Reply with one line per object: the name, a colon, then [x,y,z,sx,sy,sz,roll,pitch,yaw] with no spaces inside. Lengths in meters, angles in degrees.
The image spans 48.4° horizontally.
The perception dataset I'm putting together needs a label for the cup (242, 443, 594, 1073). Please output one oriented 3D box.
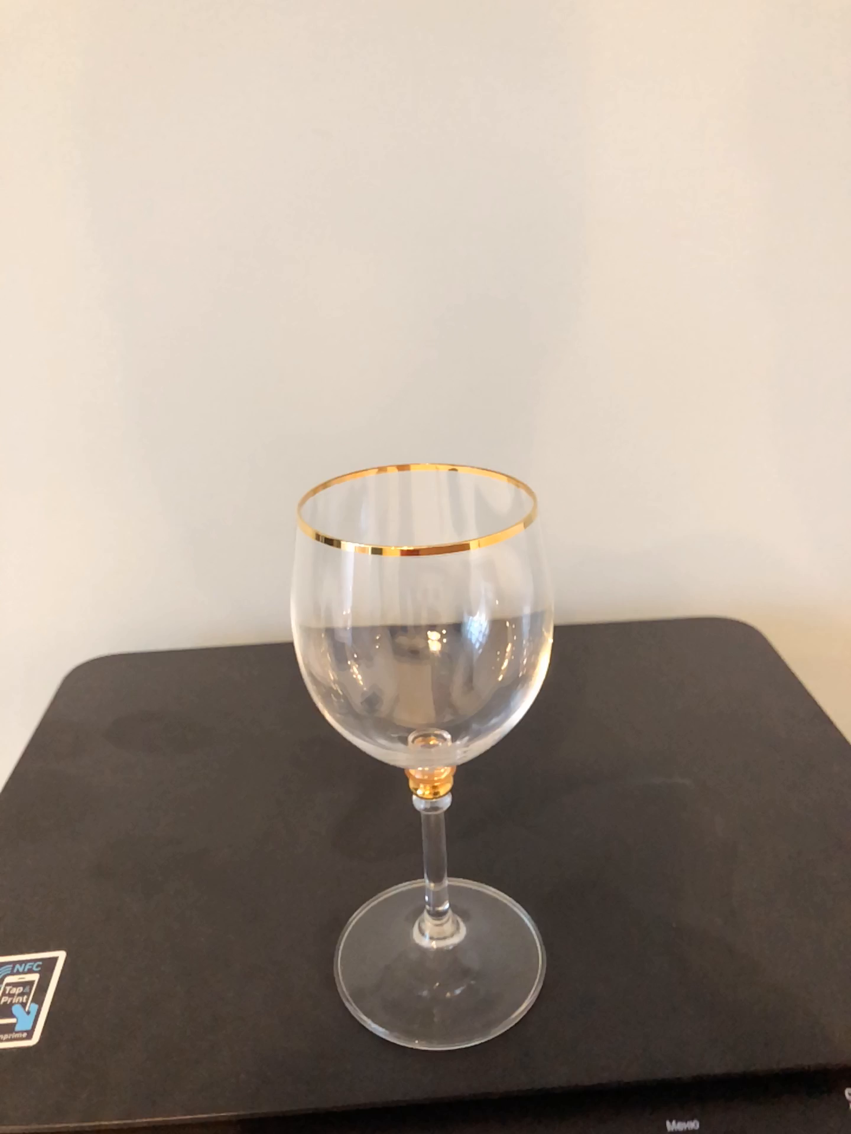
cup: [0.002,0.059,0.305,0.086,0.177,0.087,-2,22,1]
